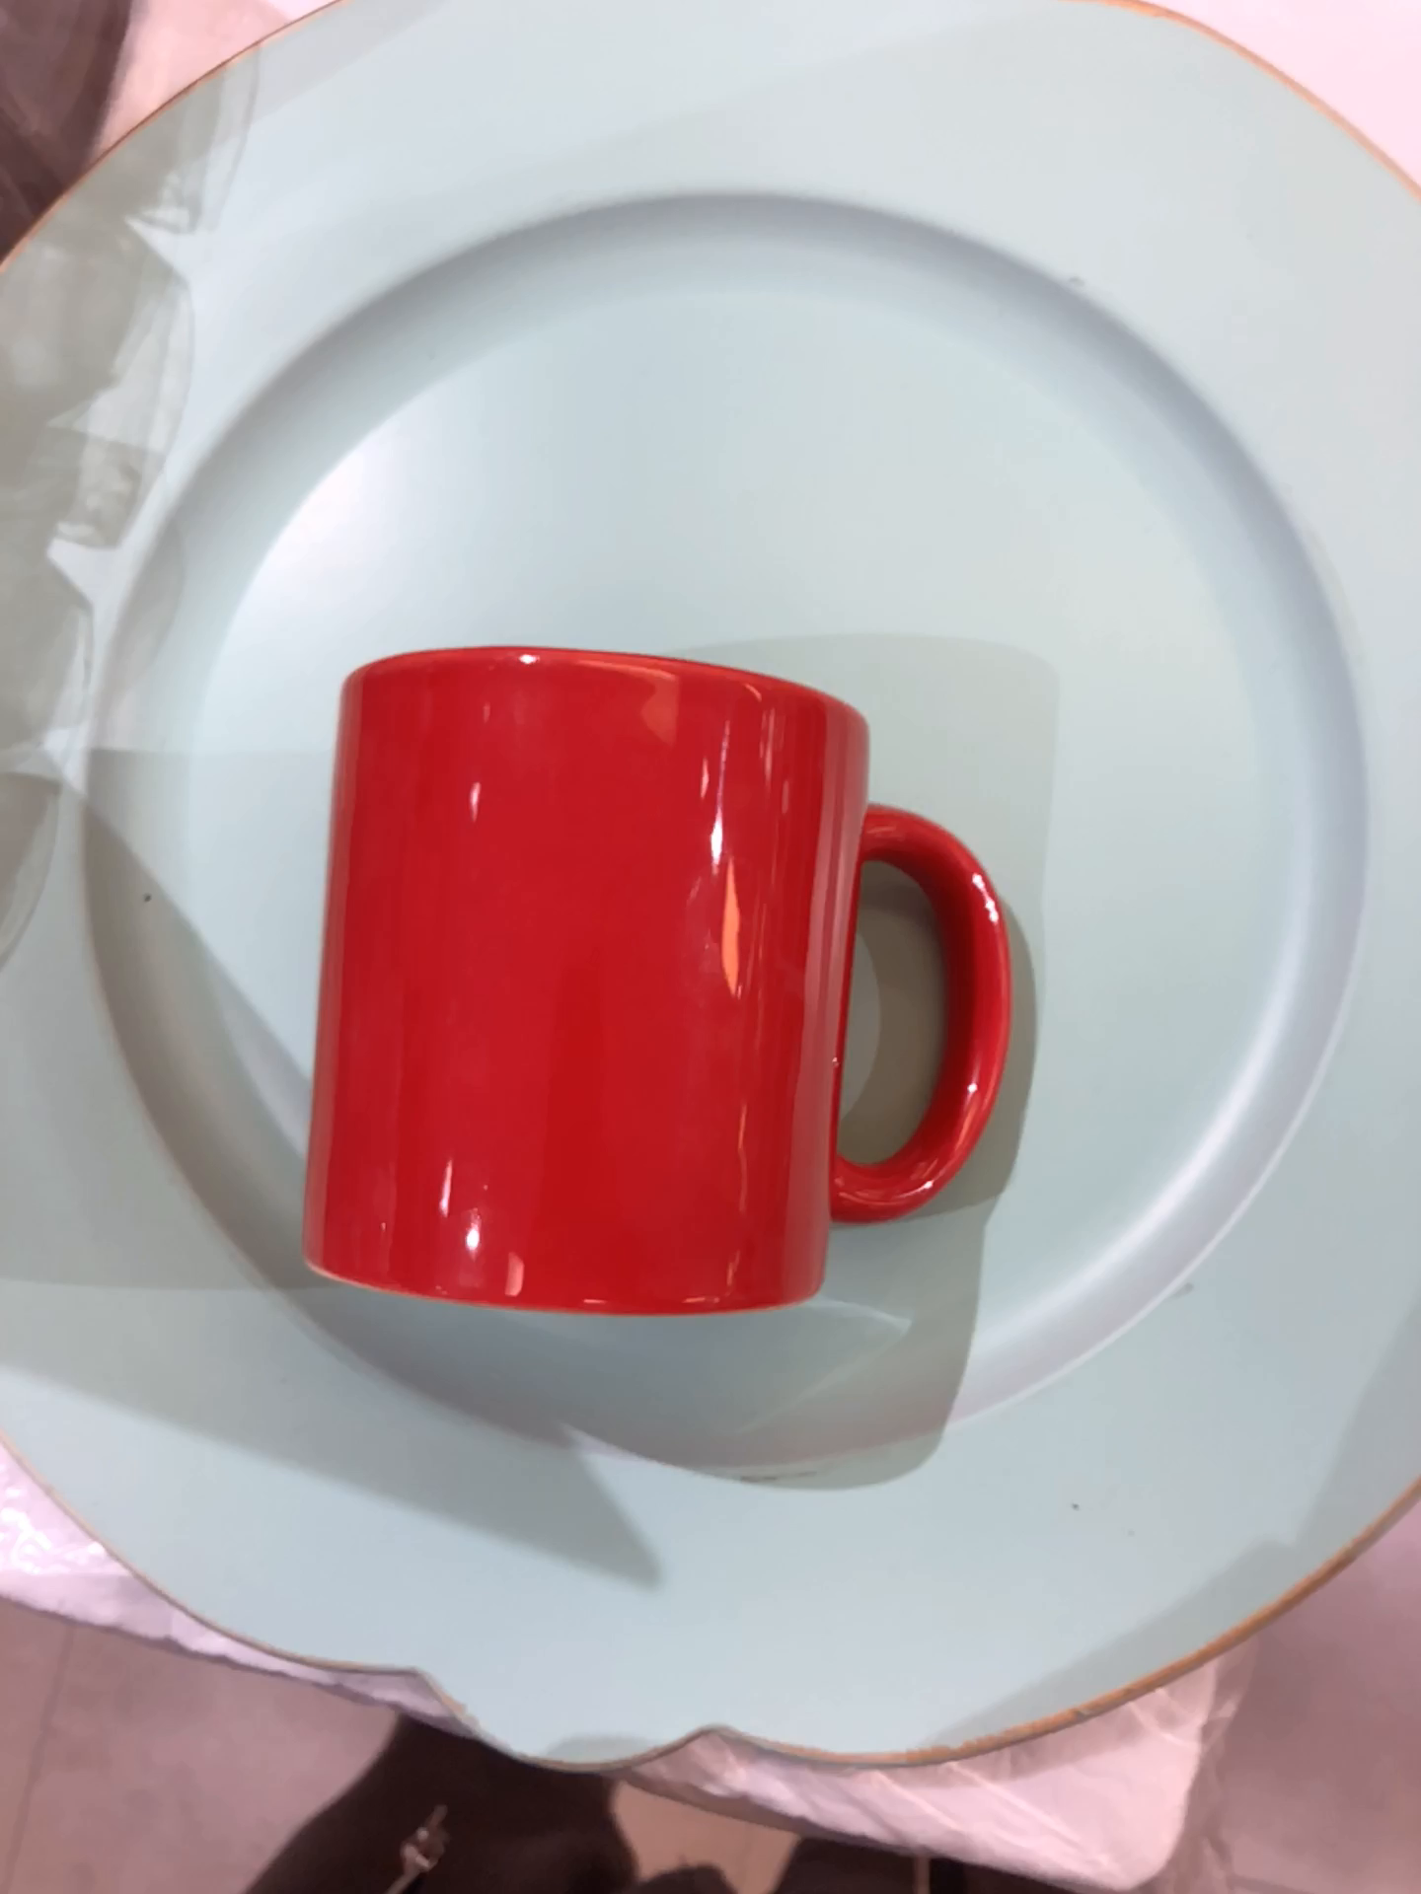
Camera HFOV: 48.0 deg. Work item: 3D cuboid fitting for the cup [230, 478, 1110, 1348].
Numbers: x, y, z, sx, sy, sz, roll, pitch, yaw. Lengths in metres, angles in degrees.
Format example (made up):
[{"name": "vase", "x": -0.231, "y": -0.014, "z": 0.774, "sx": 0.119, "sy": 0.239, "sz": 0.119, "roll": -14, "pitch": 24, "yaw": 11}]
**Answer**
[{"name": "cup", "x": -0.005, "y": 0.001, "z": 0.234, "sx": 0.110, "sy": 0.060, "sz": 0.100, "roll": 2, "pitch": 86, "yaw": -28}]
